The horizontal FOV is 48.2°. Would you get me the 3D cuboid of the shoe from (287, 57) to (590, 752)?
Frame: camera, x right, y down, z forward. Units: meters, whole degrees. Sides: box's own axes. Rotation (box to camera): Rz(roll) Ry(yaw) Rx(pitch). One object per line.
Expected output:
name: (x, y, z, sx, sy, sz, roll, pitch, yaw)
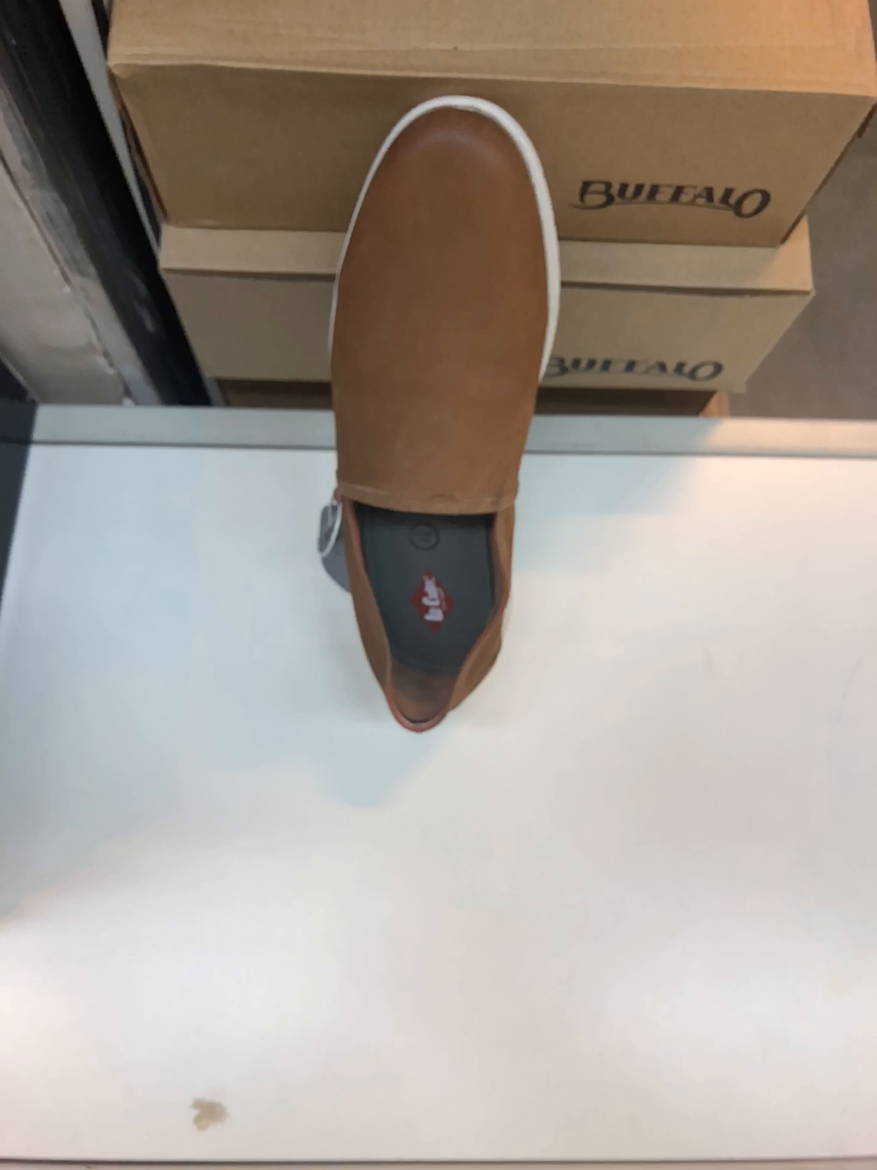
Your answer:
shoe: (-0.001, -0.089, 0.506, 0.113, 0.310, 0.149, 7, 31, 4)
